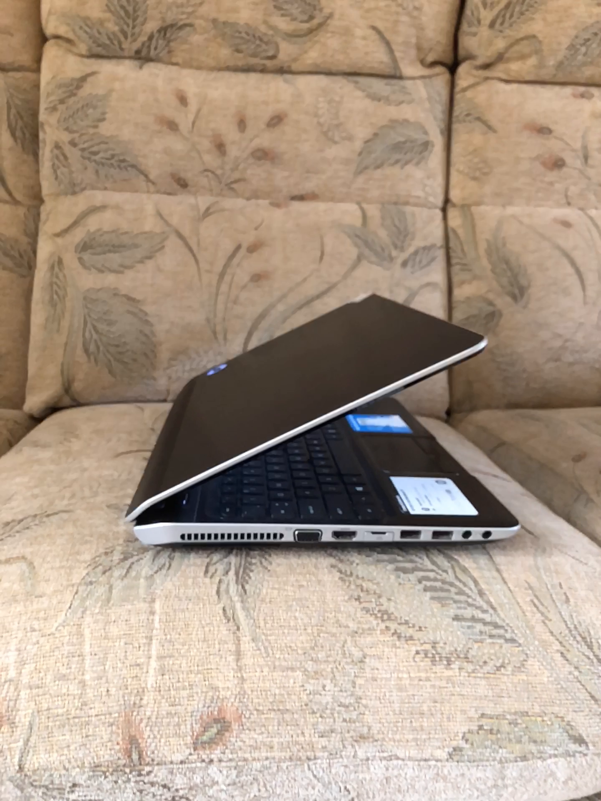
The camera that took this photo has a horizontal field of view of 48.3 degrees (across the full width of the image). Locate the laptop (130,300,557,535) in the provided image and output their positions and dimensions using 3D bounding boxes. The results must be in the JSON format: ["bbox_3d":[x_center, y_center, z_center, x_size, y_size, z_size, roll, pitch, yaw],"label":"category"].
[{"bbox_3d":[0.011,-0.015,0.605,0.253,0.113,0.398,0,14,-6],"label":"laptop"}]
